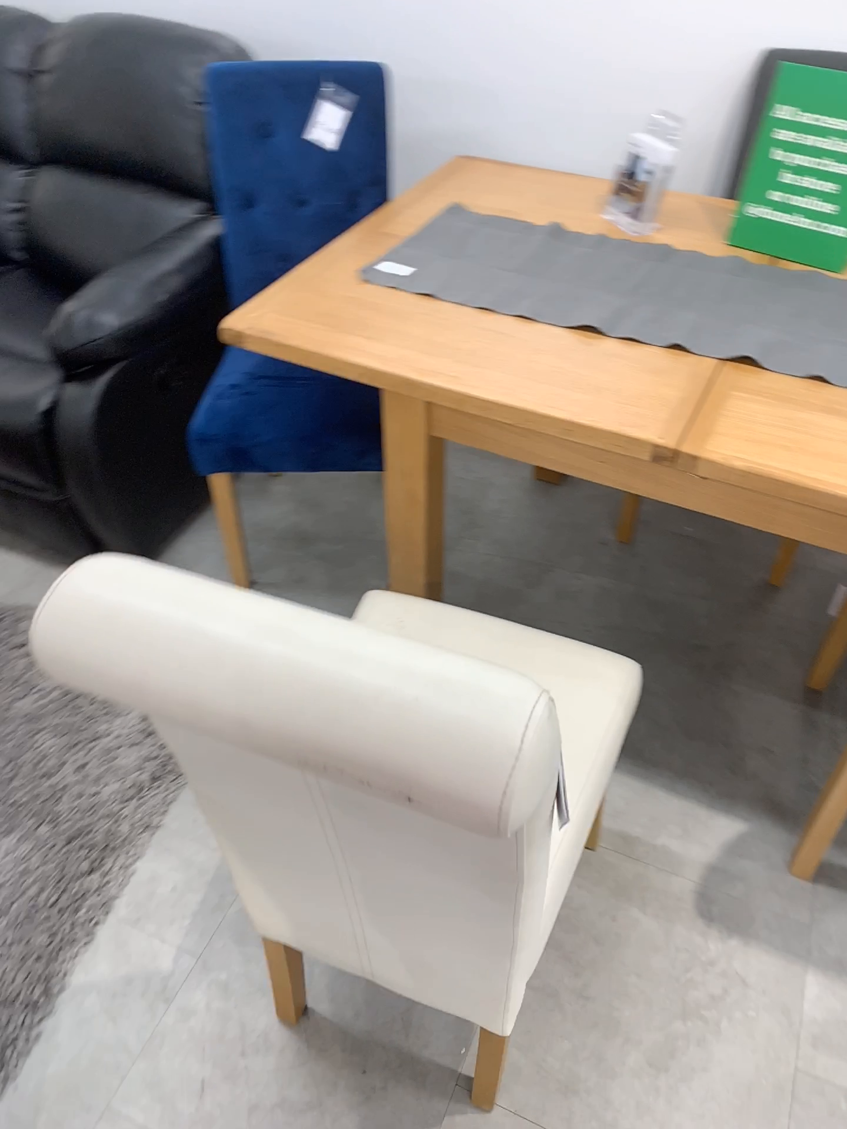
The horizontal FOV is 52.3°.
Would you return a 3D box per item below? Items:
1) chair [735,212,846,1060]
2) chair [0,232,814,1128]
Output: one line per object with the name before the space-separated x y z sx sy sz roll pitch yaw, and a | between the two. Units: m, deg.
chair | 0.831 0.115 1.179 0.484 0.906 0.586 17 46 19
chair | 0.033 0.221 1.014 0.514 0.935 0.596 15 45 16
